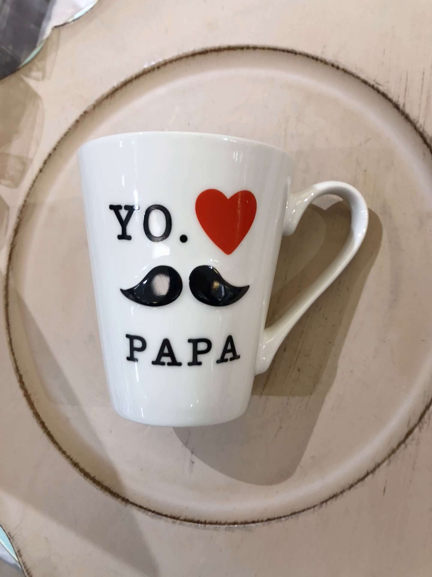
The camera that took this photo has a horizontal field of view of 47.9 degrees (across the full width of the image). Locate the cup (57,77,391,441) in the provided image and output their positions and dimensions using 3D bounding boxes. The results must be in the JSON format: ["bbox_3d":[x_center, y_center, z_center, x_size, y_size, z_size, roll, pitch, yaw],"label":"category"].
[{"bbox_3d":[-0.001,-0.011,0.210,0.110,0.090,0.120,0,95,-4],"label":"cup"}]
